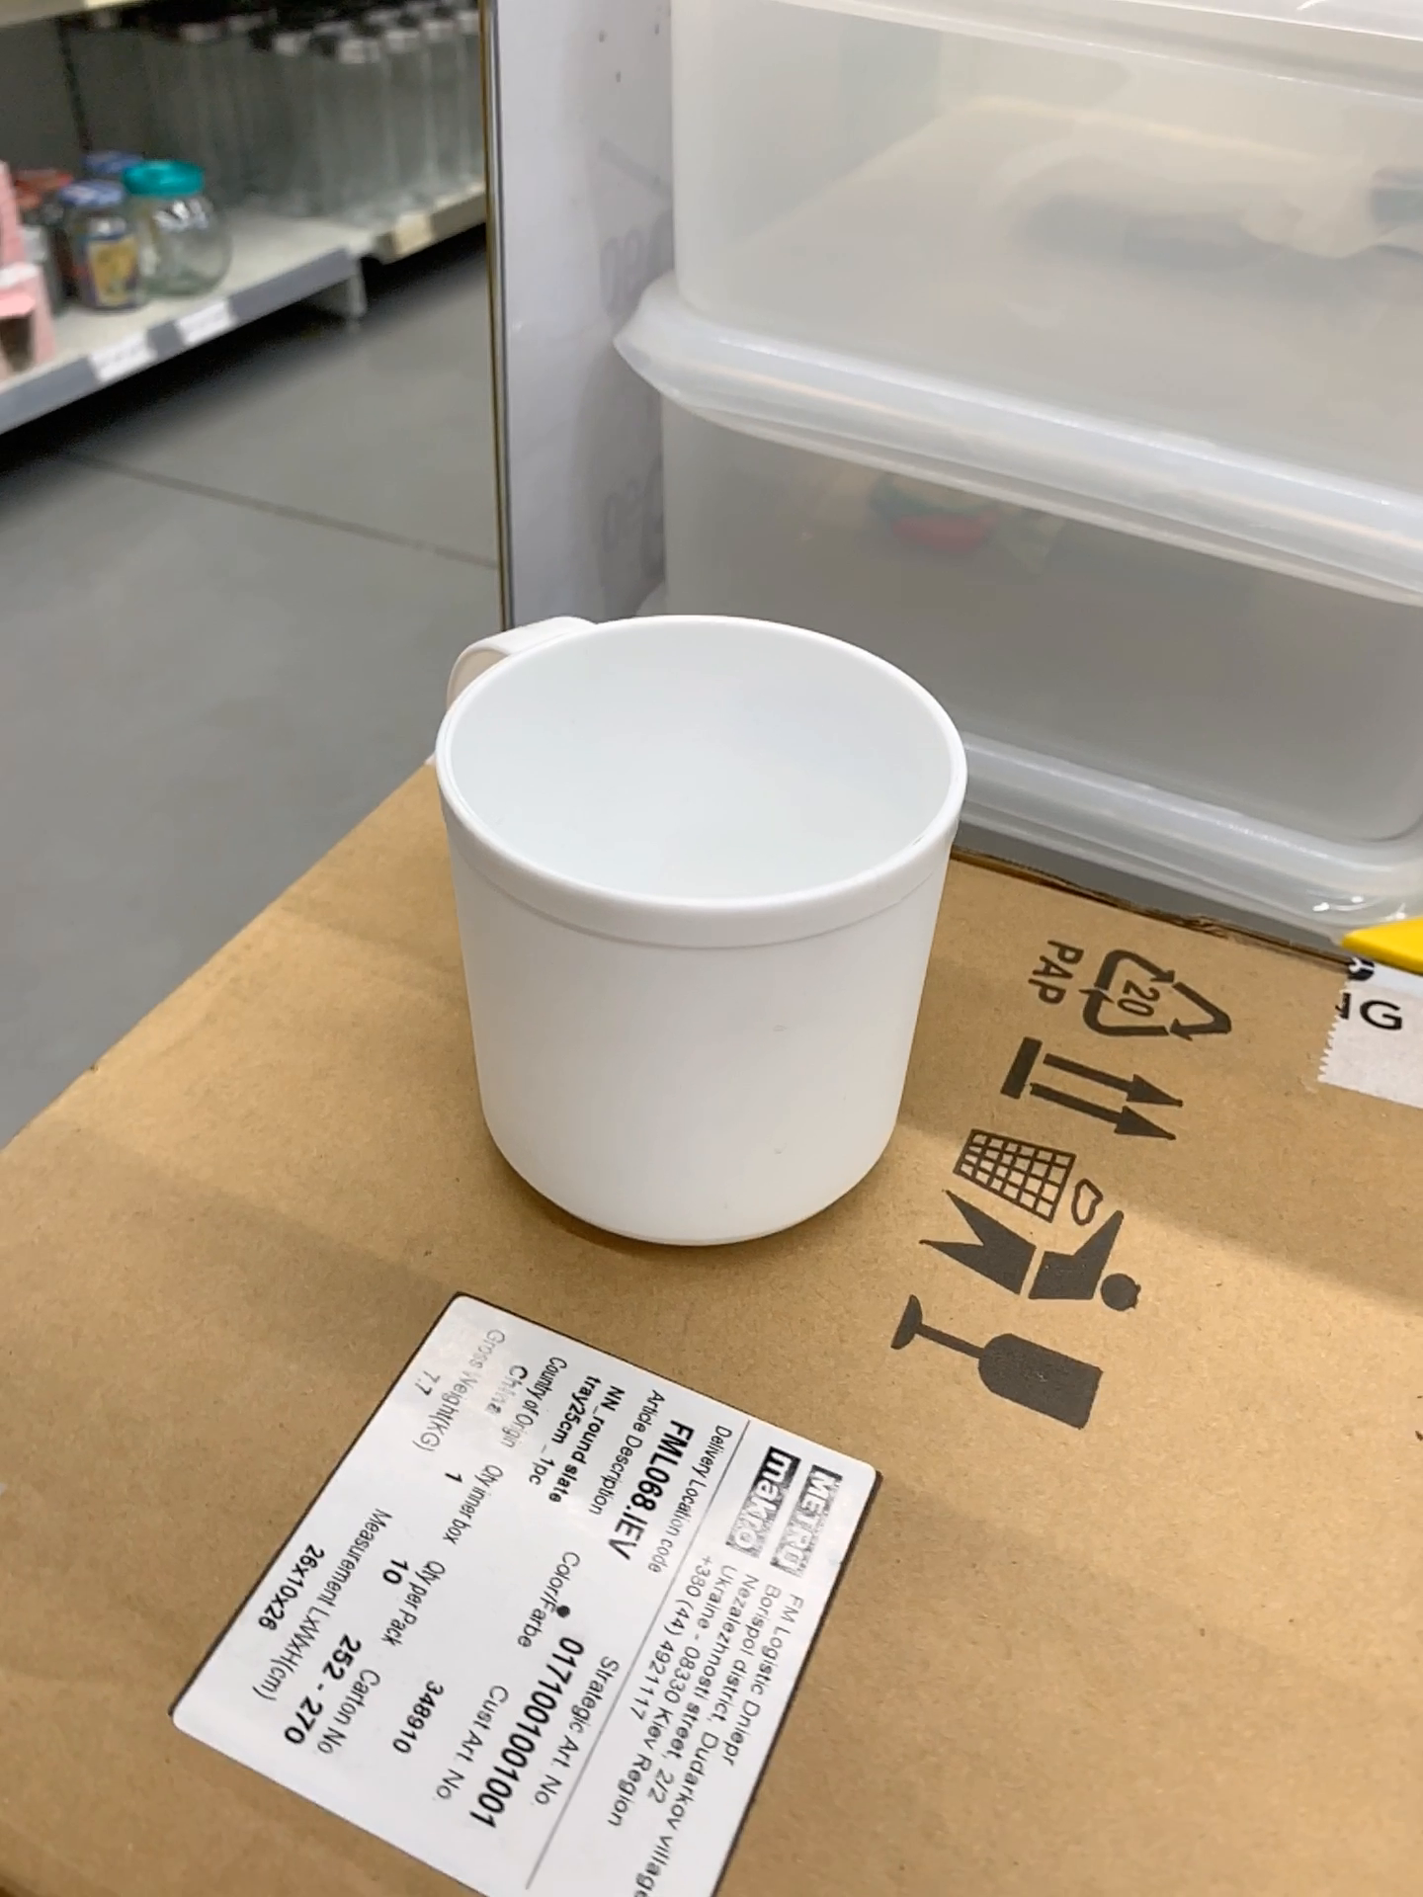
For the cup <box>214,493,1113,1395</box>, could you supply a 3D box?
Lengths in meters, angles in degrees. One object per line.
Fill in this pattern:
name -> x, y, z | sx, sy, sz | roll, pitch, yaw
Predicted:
cup -> -0.012, -0.009, 0.241 | 0.080, 0.075, 0.113 | -26, 48, -30
